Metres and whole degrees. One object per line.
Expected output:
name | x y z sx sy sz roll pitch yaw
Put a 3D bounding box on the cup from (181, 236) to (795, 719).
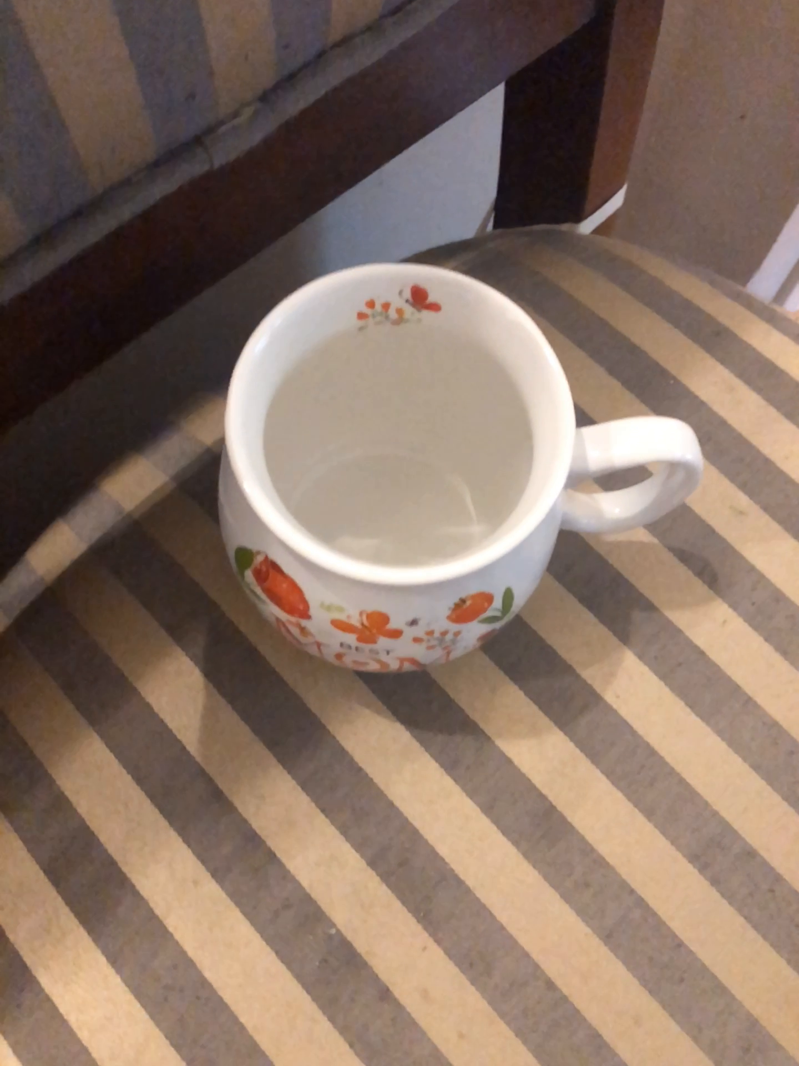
cup | 0.017 -0.011 0.263 0.140 0.090 0.110 -2 68 -2
